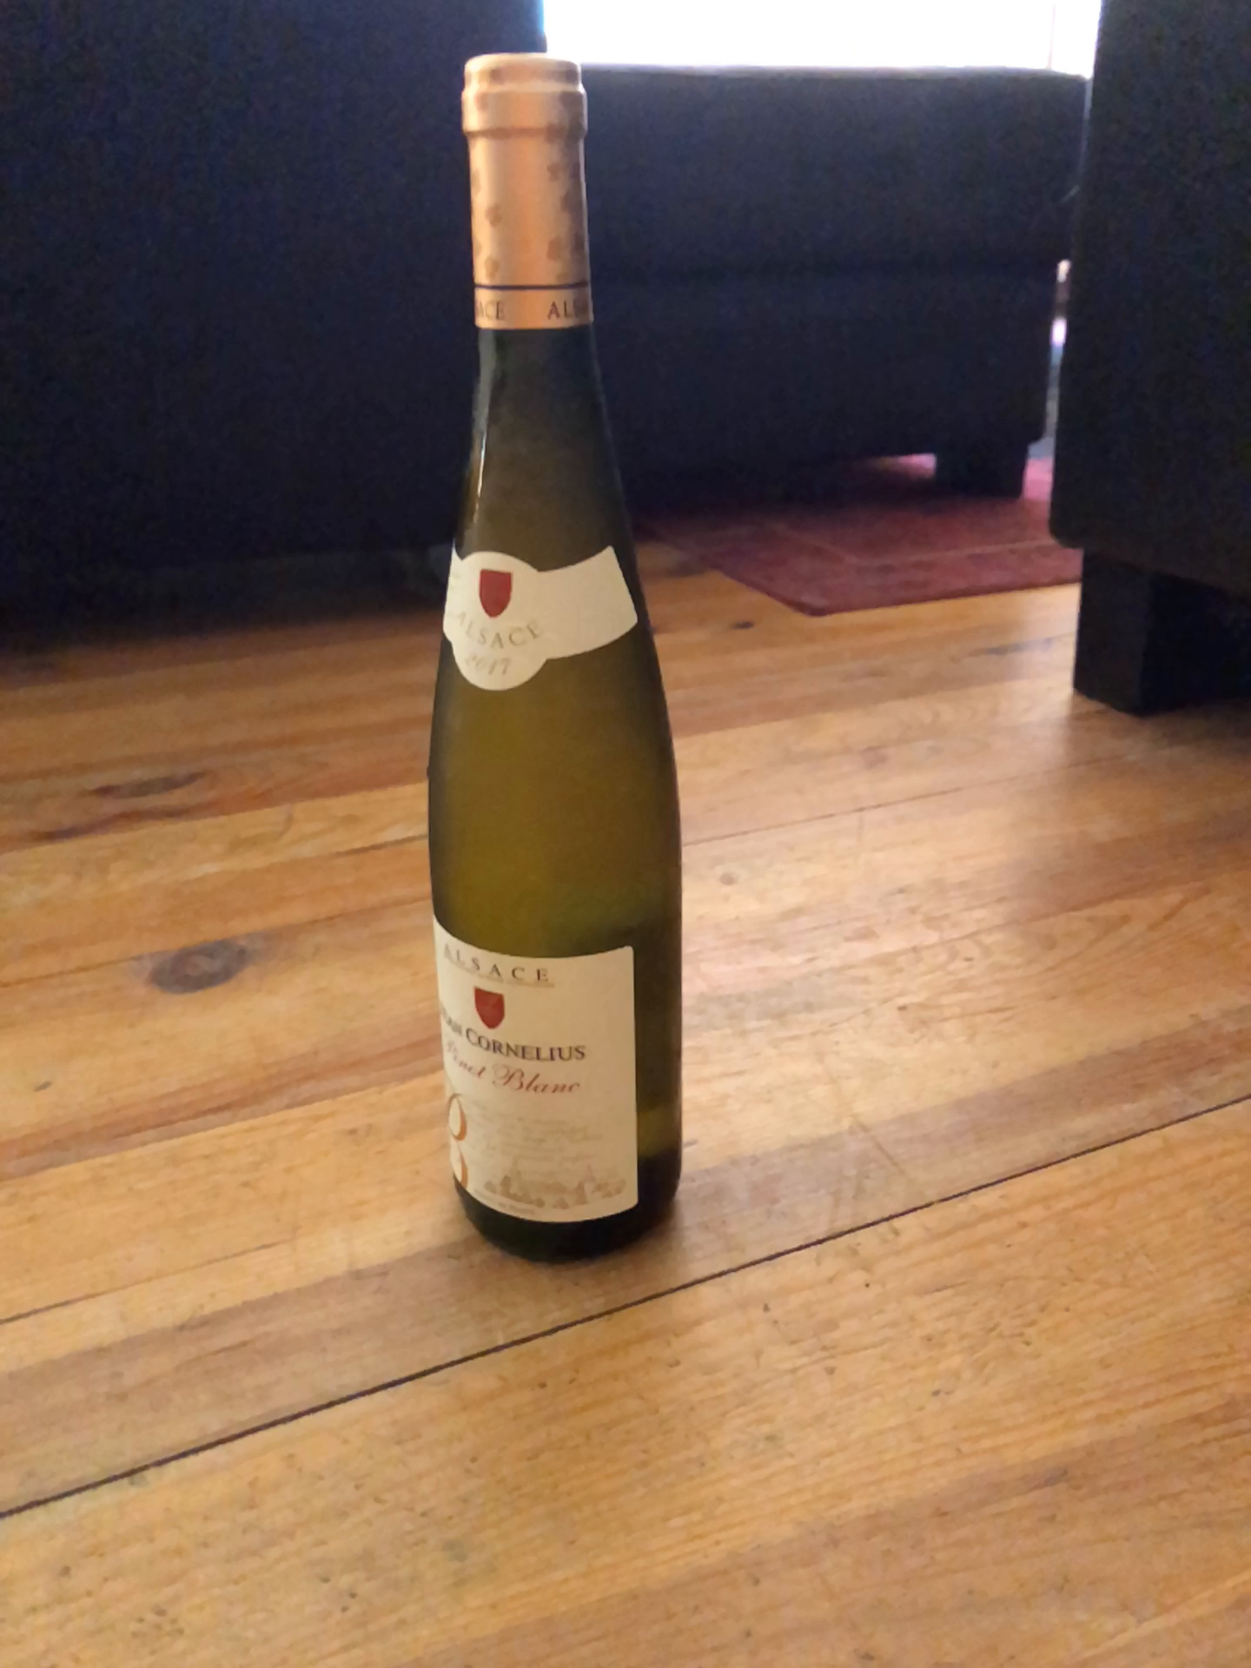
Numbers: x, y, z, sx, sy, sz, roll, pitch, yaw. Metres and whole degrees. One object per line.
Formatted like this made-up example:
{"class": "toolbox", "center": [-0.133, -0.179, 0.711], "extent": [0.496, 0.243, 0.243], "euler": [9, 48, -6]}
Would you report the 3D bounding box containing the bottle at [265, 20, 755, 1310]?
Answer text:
{"class": "bottle", "center": [-0.021, -0.033, 0.379], "extent": [0.080, 0.318, 0.080], "euler": [-1, 24, 0]}
